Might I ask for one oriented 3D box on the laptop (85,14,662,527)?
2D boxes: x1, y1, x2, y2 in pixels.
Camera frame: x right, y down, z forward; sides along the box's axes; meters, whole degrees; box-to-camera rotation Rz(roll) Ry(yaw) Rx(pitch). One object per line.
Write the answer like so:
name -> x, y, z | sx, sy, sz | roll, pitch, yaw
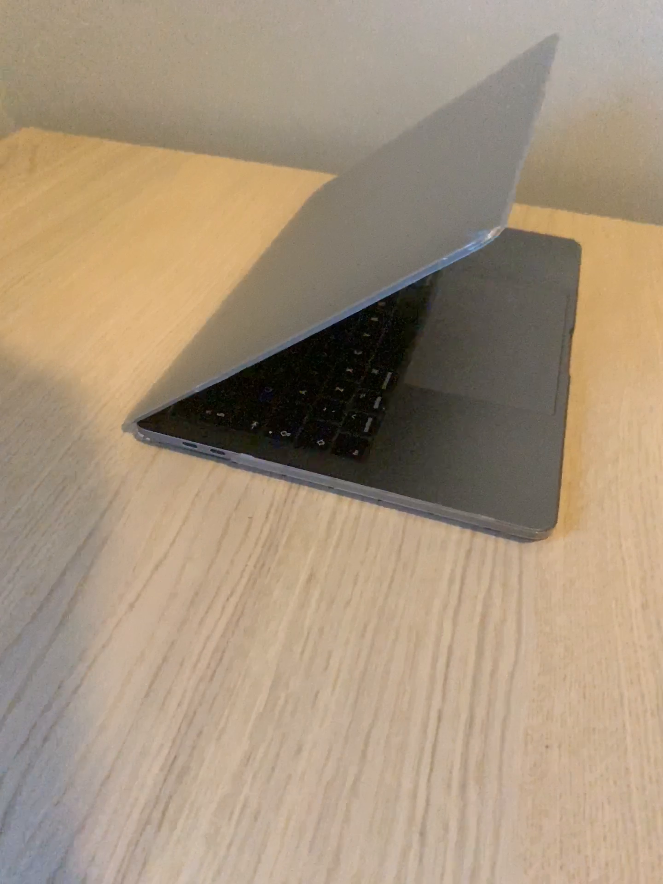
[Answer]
laptop -> 0.045, -0.126, 0.382 | 0.204, 0.130, 0.291 | 13, 43, 12
